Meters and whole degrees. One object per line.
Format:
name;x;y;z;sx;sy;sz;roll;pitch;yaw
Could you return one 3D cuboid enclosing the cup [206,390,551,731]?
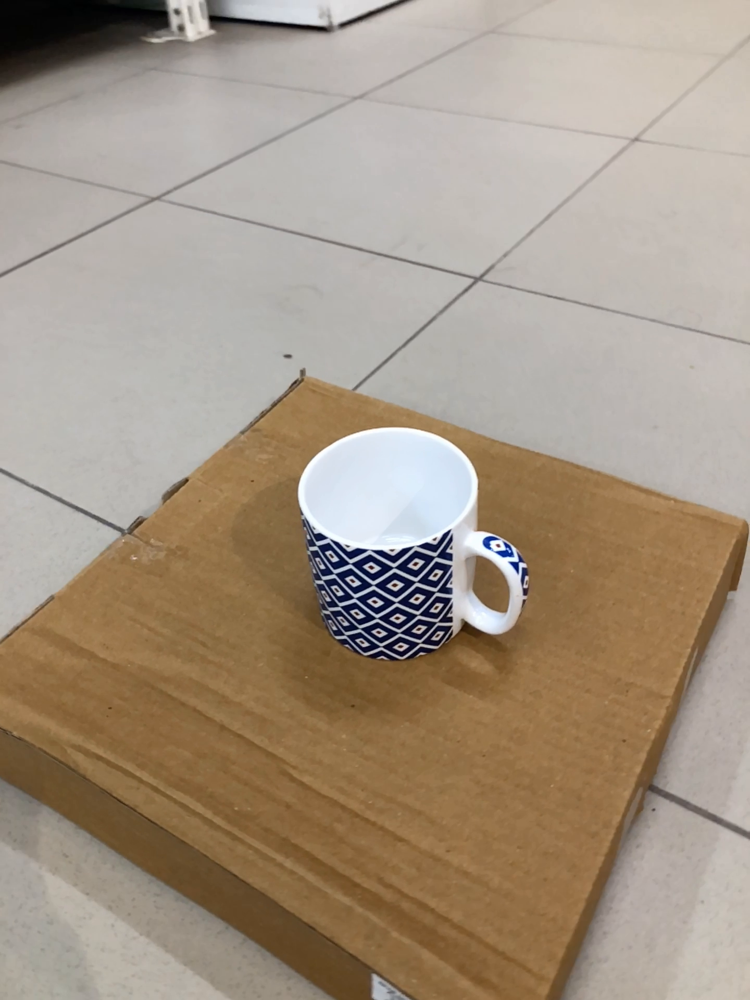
cup;0.004;0.021;0.352;0.110;0.080;0.080;20;46;25
